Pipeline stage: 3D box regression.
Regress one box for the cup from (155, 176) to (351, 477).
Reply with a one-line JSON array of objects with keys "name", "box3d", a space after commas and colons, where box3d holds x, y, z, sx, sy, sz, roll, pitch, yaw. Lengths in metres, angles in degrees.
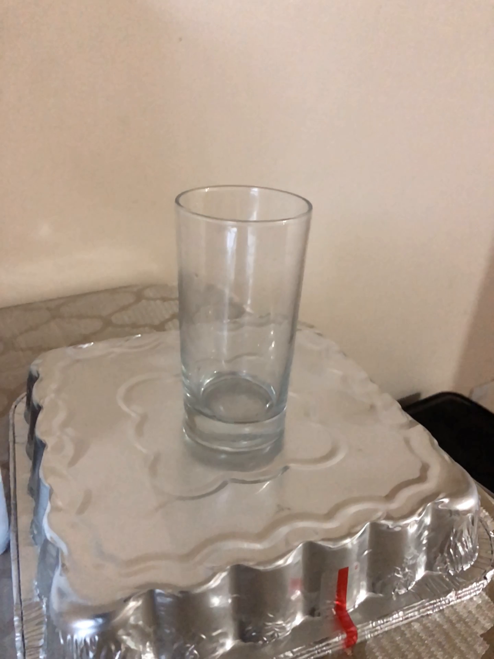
[{"name": "cup", "box3d": [-0.001, -0.004, 0.266, 0.060, 0.119, 0.060, 4, 27, -2]}]
